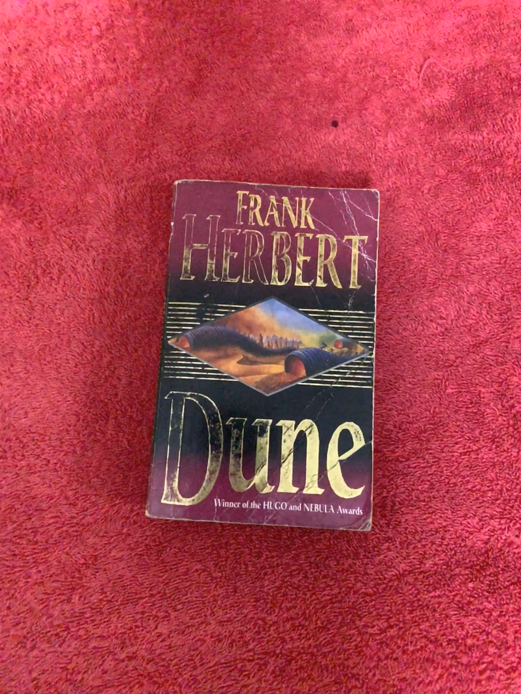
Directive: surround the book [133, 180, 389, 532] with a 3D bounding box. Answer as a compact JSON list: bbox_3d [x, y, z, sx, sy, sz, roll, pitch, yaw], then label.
[{"bbox_3d":[0.004,0.002,0.276,0.114,0.040,0.165,3,80,2],"label":"book"}]
